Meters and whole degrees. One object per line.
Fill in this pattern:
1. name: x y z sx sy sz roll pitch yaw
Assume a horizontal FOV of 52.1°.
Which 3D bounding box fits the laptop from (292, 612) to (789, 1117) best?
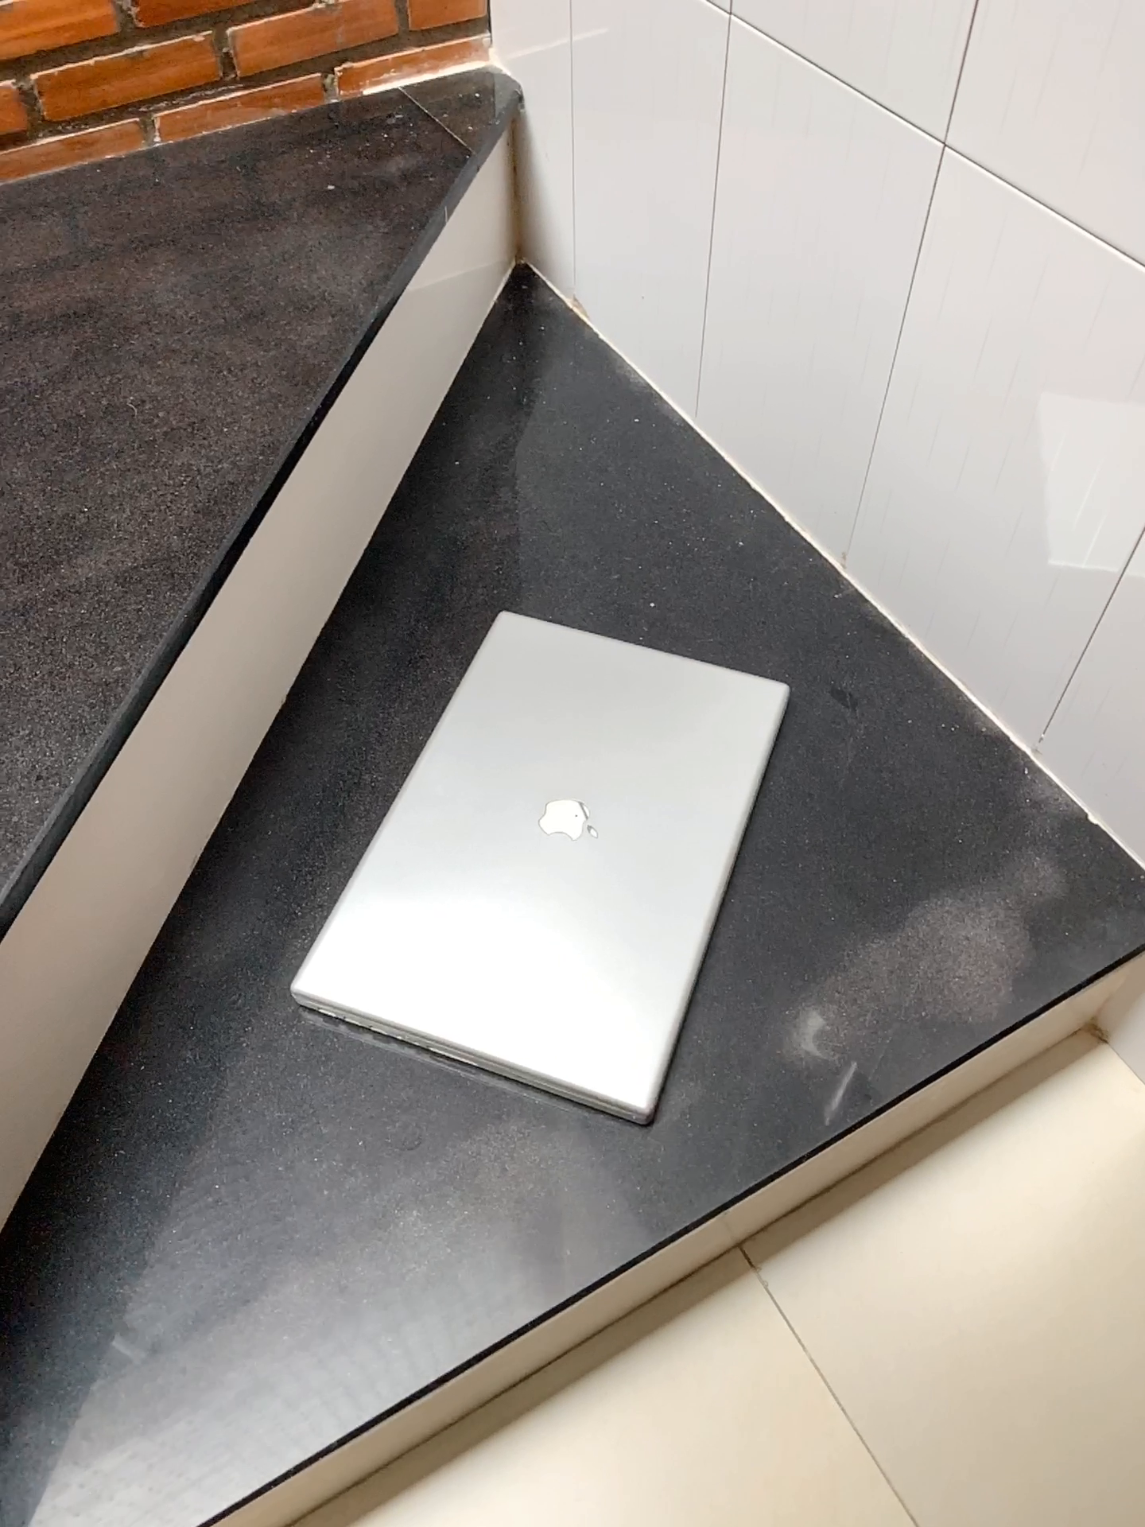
1. laptop: -0.006 0.057 1.025 0.291 0.013 0.441 17 54 10
